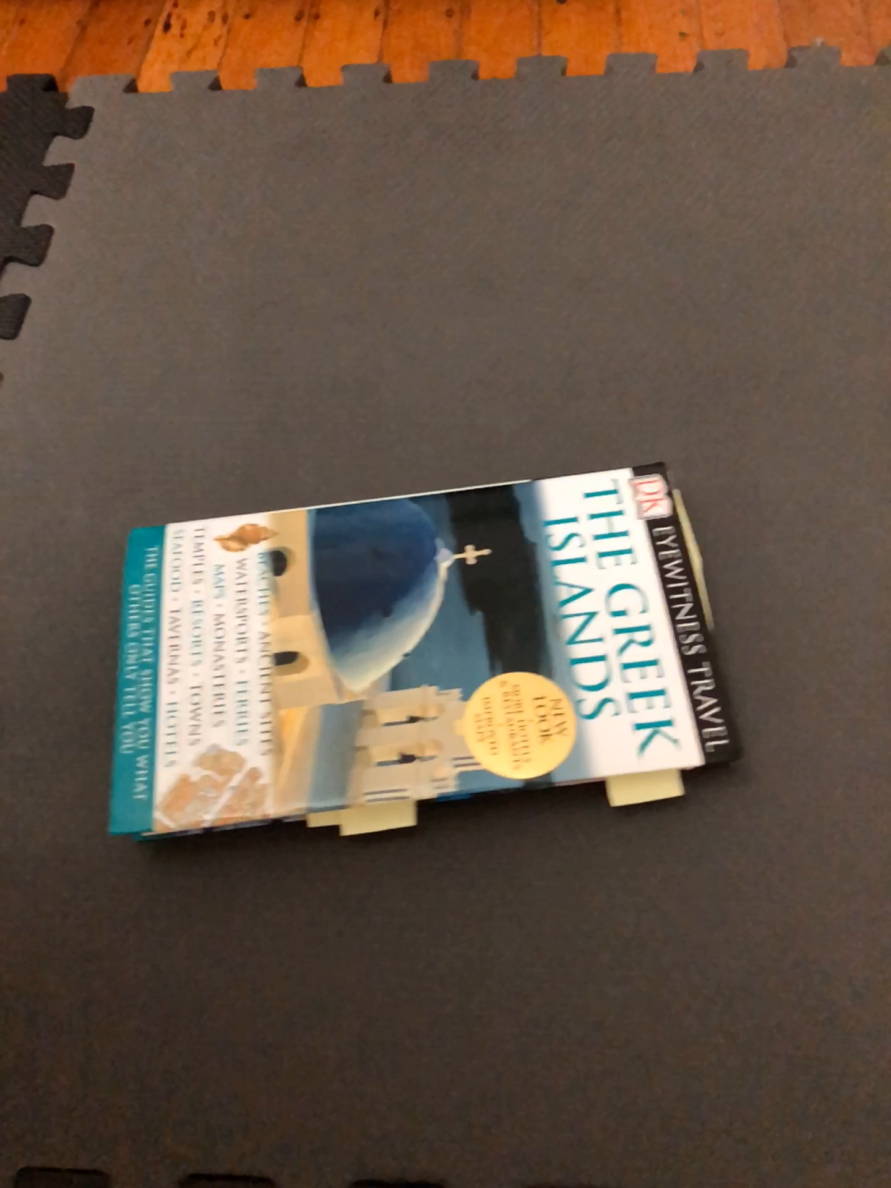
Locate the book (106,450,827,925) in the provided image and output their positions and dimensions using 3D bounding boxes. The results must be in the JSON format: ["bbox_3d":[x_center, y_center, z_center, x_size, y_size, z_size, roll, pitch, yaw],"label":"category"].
[{"bbox_3d":[0.000,0.030,0.379,0.240,0.030,0.161,-6,59,0],"label":"book"}]
